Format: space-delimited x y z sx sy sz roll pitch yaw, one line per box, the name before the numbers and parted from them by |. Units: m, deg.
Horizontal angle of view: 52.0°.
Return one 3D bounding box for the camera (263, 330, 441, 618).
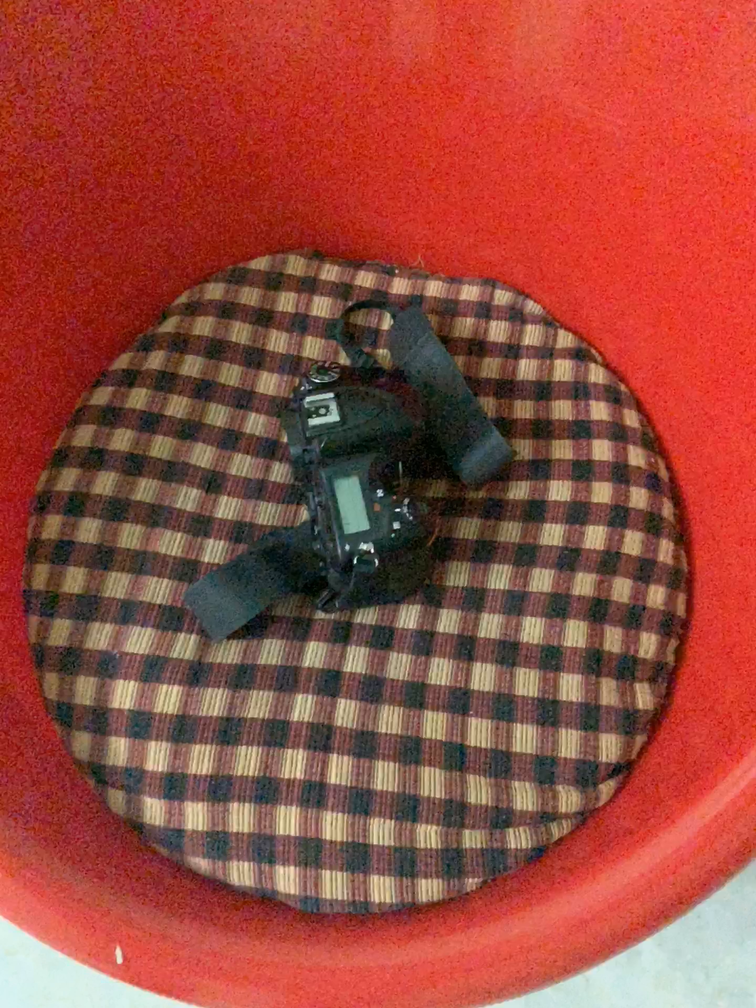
camera | -0.017 -0.014 0.461 0.080 0.090 0.140 -7 71 -3
